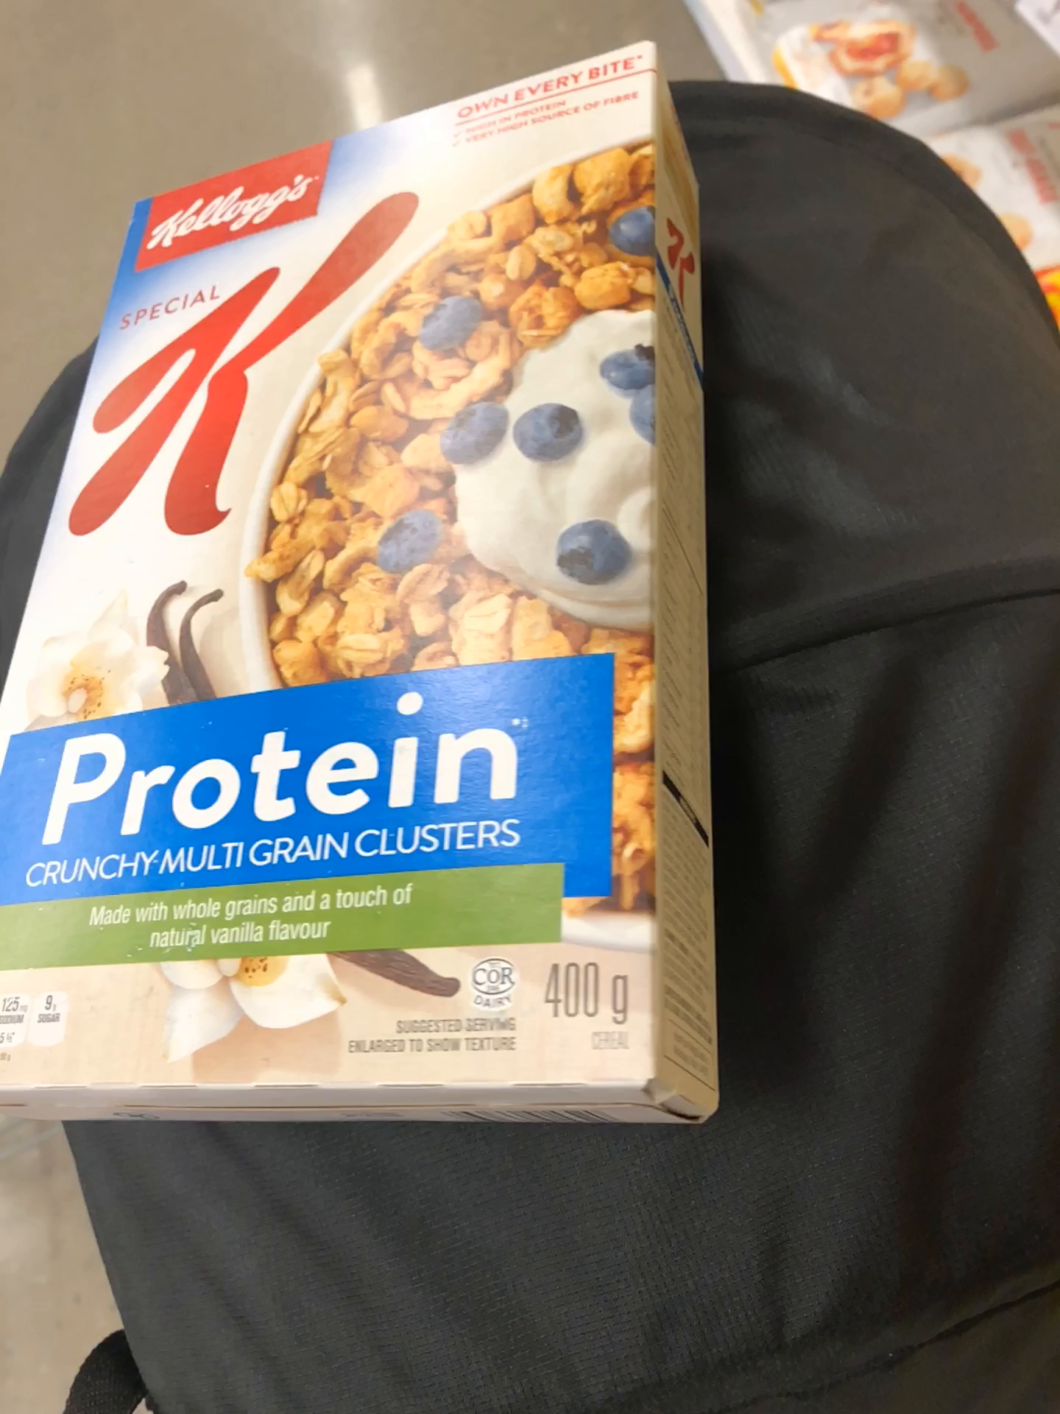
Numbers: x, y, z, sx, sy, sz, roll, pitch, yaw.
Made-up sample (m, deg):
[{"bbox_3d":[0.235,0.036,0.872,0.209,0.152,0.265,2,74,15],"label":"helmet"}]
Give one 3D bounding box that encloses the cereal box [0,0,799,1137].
[{"bbox_3d":[-0.041,-0.042,0.289,0.190,0.050,0.270,-7,60,21],"label":"cereal box"}]
